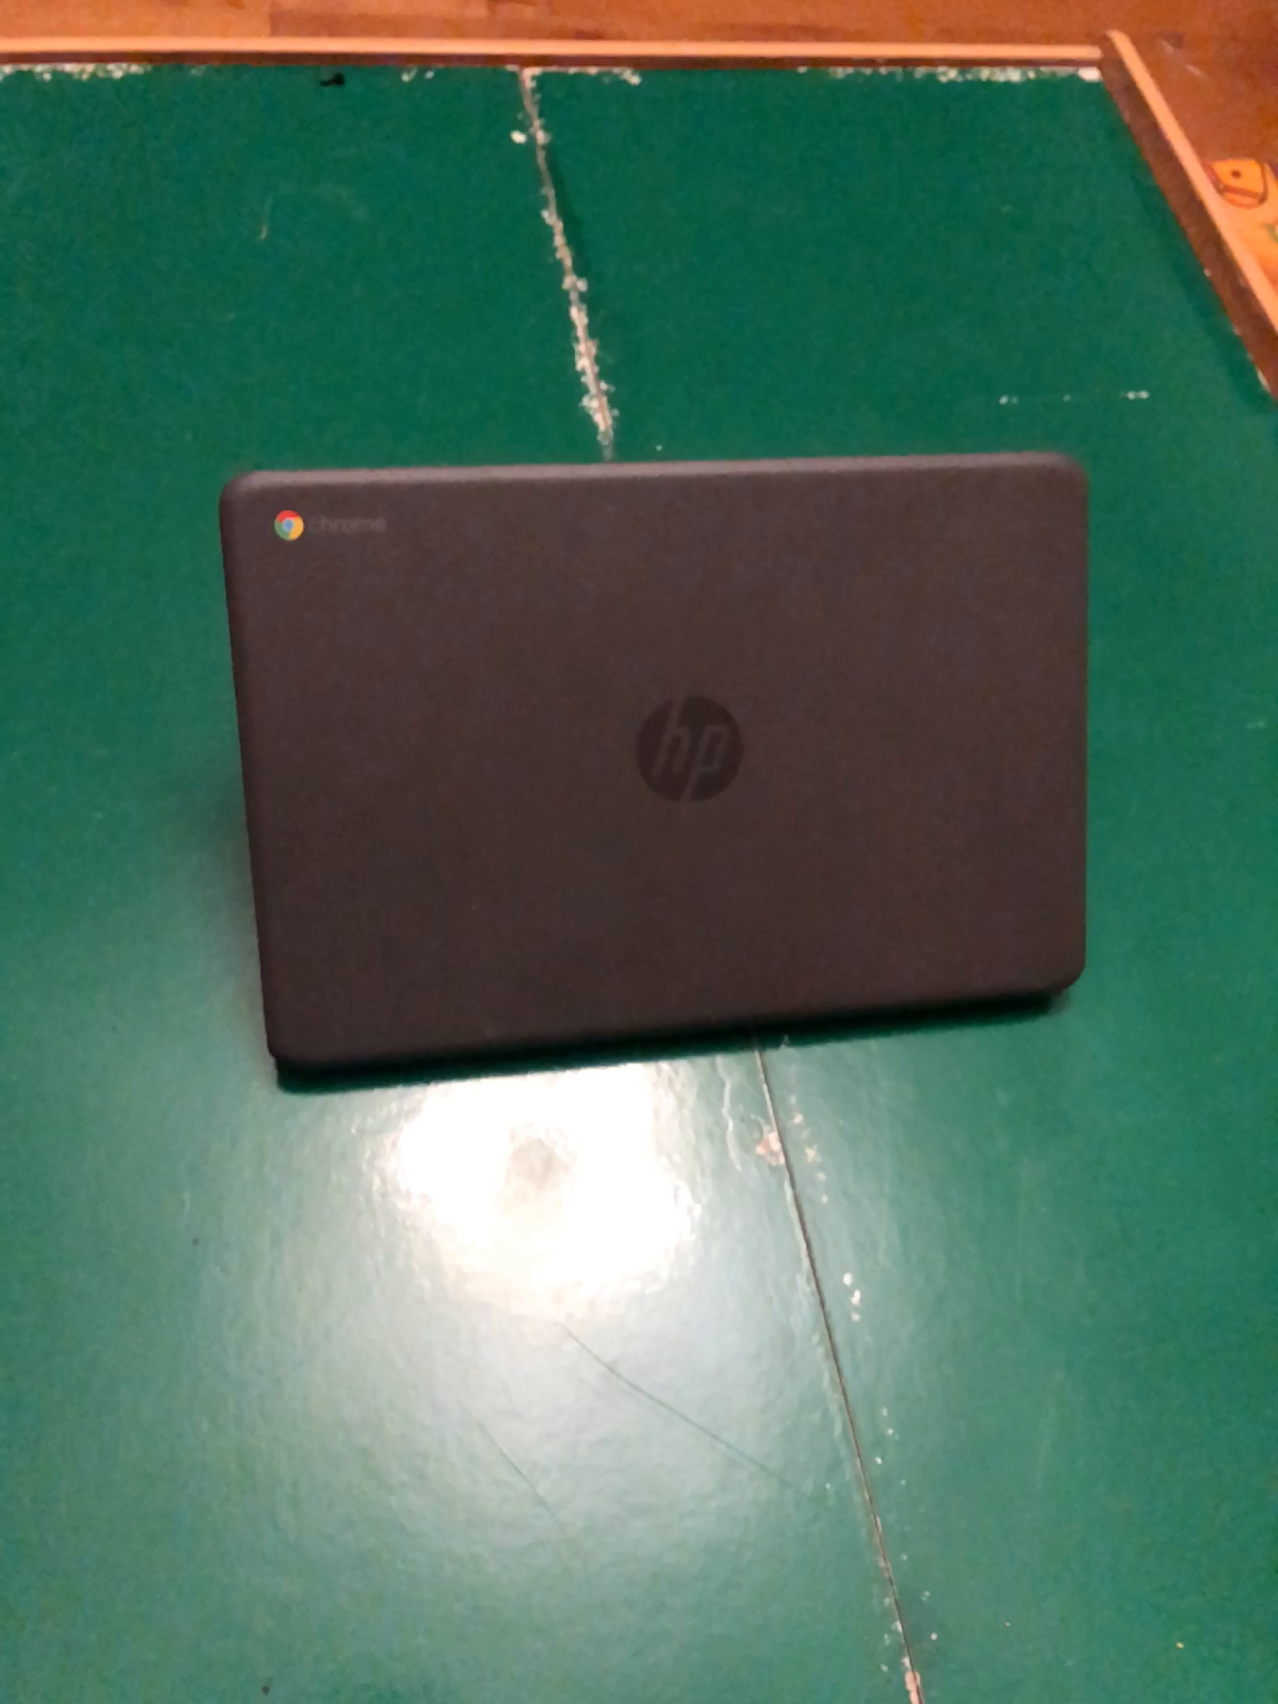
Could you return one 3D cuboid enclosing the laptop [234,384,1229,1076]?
[{"bbox_3d":[0.015,-0.052,0.548,0.316,0.144,0.209,-4,60,-10],"label":"laptop"}]
